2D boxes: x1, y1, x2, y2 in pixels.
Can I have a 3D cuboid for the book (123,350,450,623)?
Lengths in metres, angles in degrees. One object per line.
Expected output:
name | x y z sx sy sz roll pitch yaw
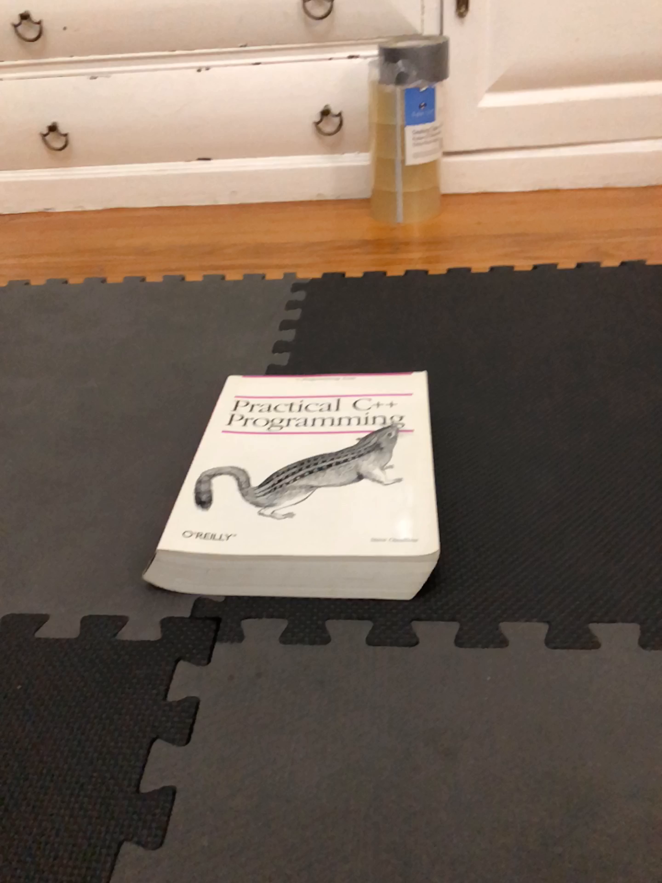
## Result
book | -0.019 0.017 0.561 0.200 0.050 0.252 4 35 2
